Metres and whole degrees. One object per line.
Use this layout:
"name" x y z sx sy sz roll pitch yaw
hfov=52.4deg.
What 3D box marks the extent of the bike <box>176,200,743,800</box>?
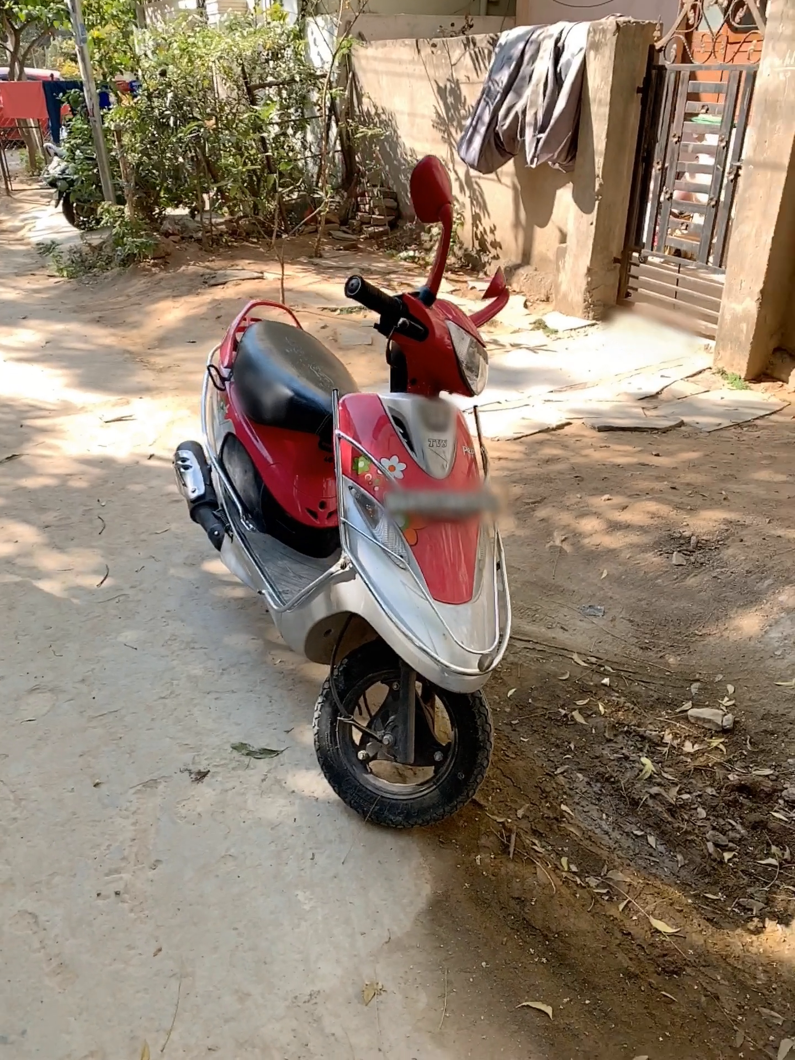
"bike" -0.029 -0.230 2.091 0.484 1.037 1.499 -16 31 -26
